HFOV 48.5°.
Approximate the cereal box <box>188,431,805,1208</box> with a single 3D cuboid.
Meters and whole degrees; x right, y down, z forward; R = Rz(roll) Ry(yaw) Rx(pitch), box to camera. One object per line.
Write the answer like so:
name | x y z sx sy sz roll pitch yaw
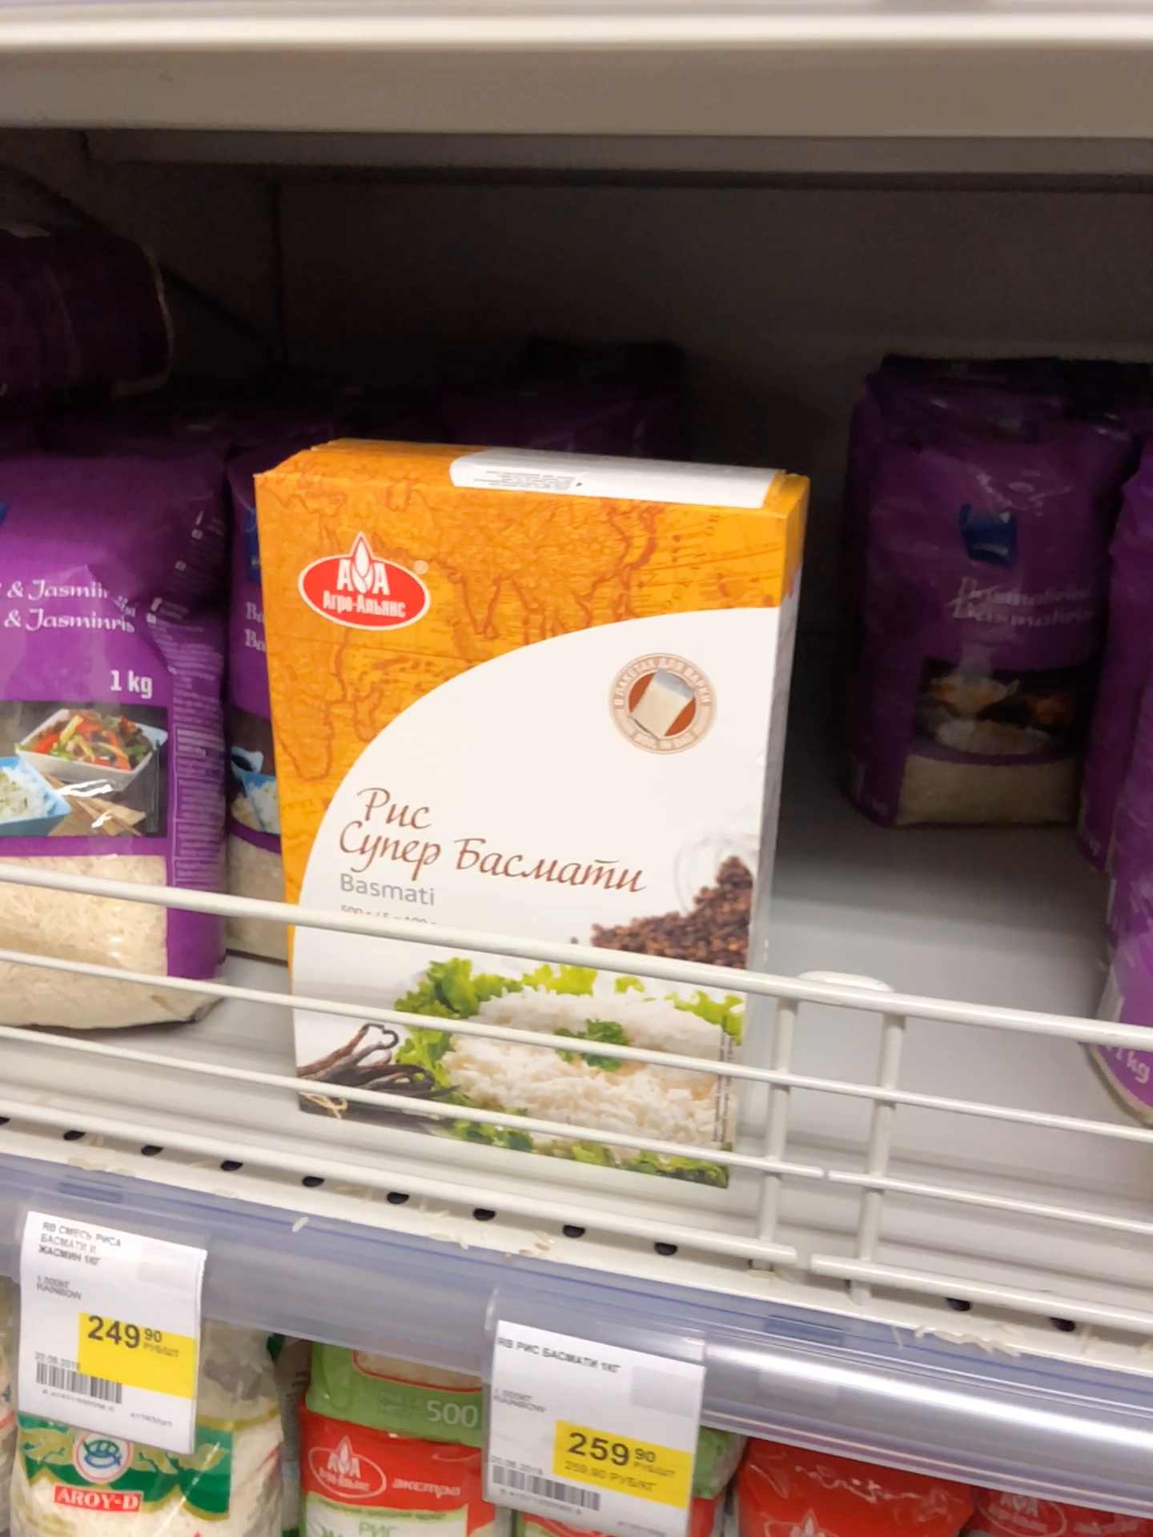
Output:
cereal box | -0.018 0.012 0.349 0.140 0.189 0.060 6 22 12
